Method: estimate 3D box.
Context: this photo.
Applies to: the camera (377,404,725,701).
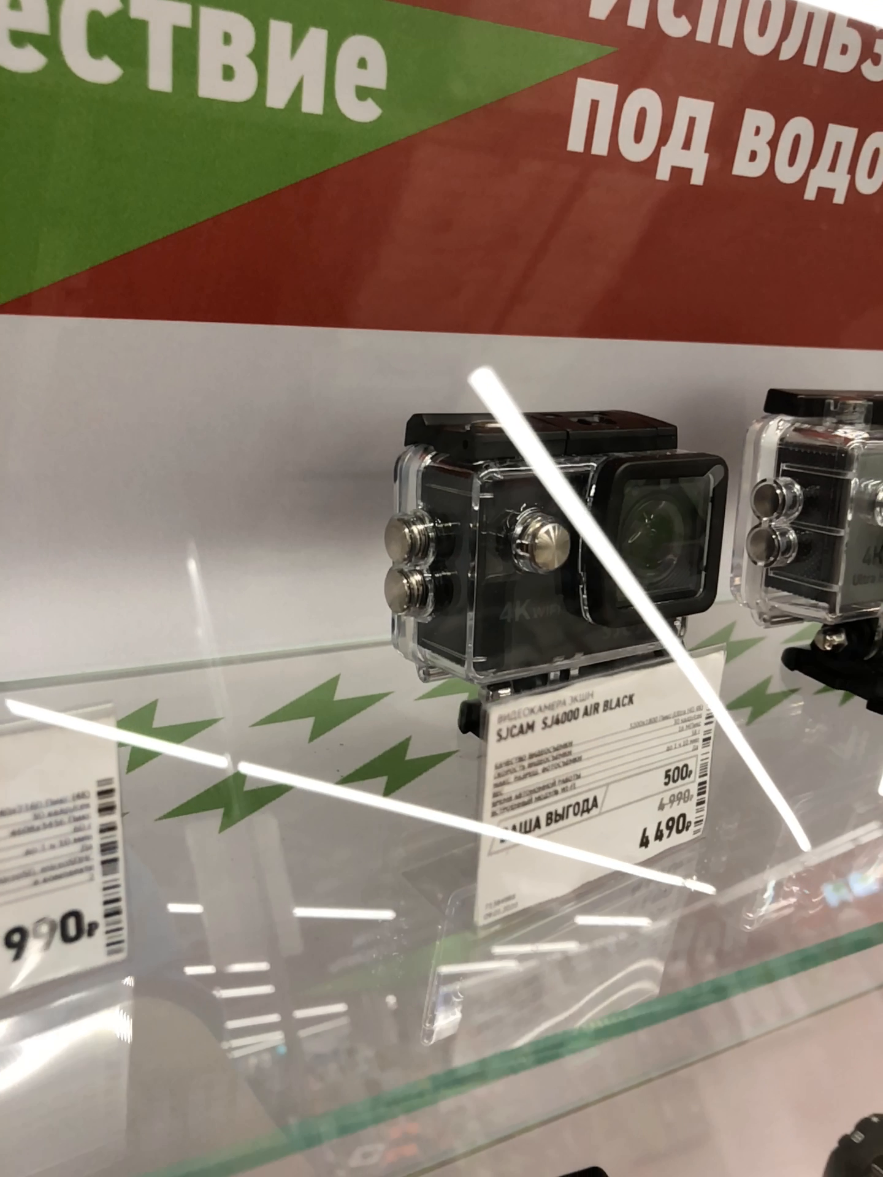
[{"bbox_3d":[0.025,-0.012,0.226,0.074,0.056,0.033,-9,17,-34],"label":"camera"}]
